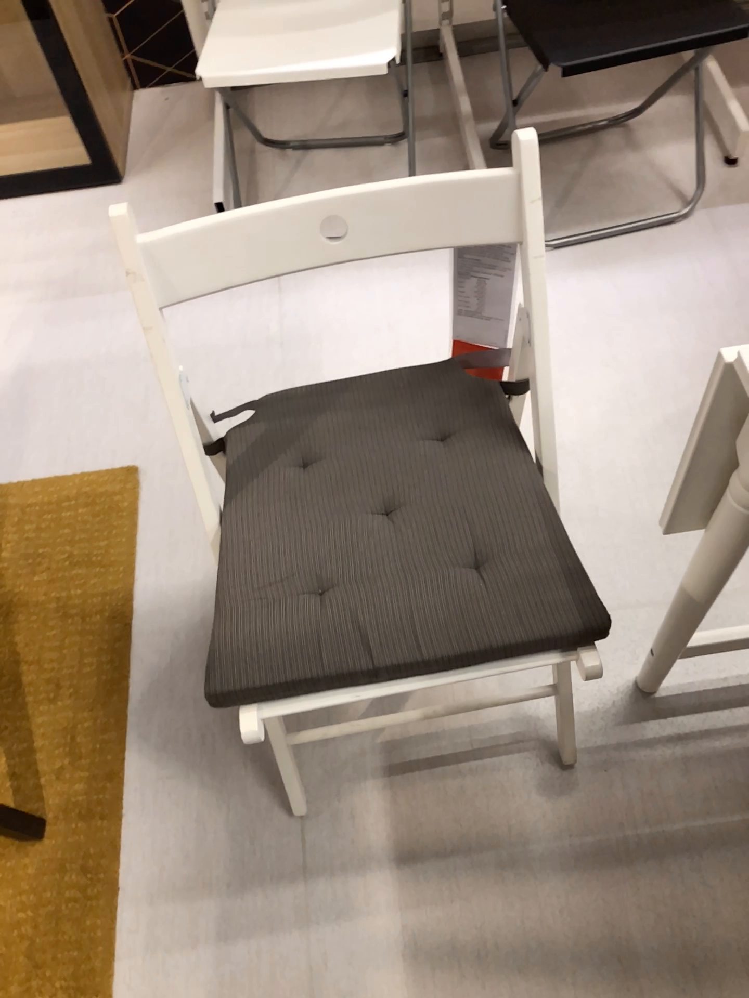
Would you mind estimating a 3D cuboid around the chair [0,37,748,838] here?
[{"bbox_3d":[-0.010,0.020,0.867,0.440,0.697,0.452,-10,58,0],"label":"chair"}]
